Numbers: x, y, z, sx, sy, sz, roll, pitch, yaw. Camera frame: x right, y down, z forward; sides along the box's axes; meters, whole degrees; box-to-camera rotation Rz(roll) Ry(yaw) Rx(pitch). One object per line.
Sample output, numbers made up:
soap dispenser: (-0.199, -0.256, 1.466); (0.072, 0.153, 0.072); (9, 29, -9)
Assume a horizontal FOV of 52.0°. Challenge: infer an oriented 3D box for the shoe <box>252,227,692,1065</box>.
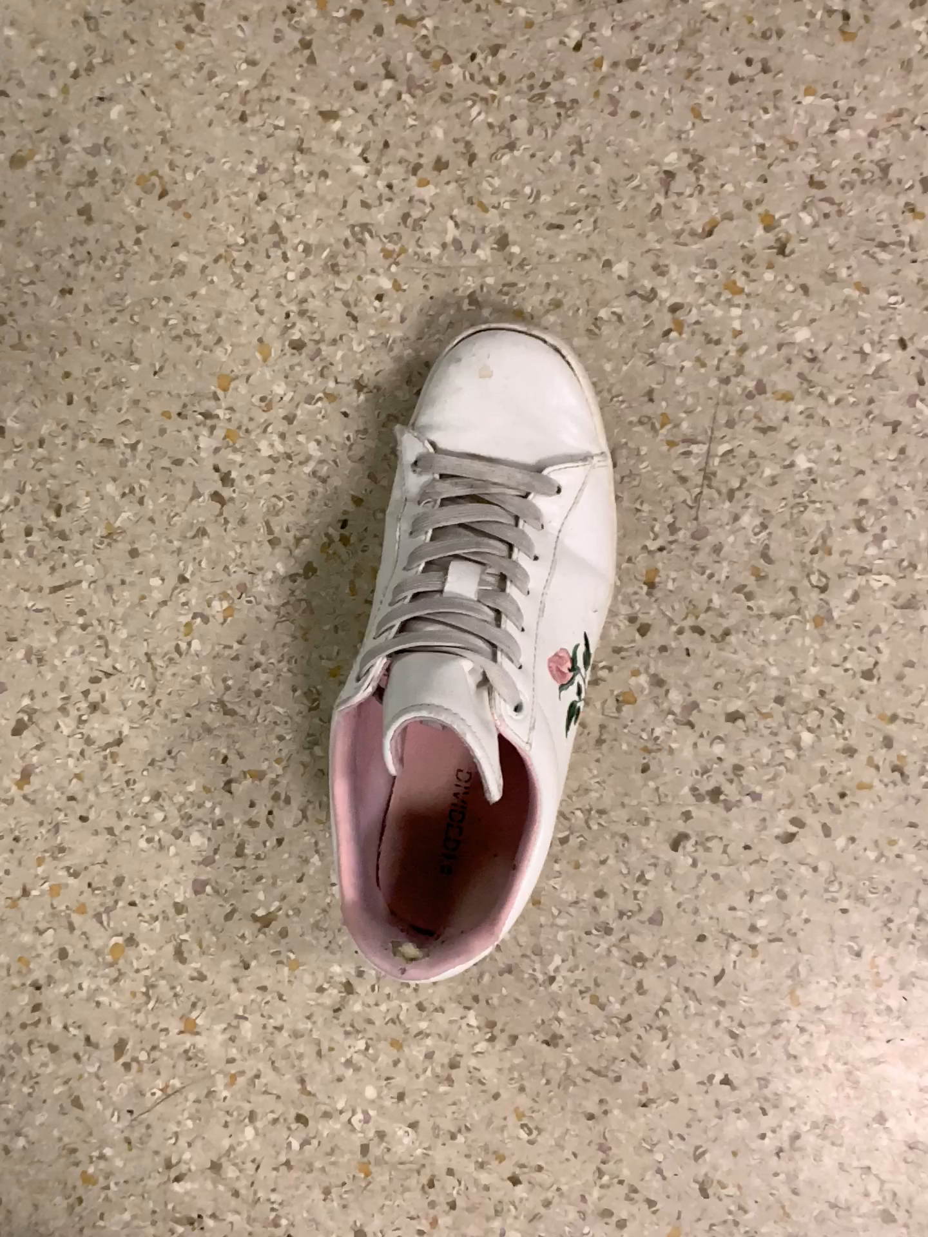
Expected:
shoe: (0.005, 0.008, 0.350); (0.098, 0.093, 0.255); (10, 91, 4)
